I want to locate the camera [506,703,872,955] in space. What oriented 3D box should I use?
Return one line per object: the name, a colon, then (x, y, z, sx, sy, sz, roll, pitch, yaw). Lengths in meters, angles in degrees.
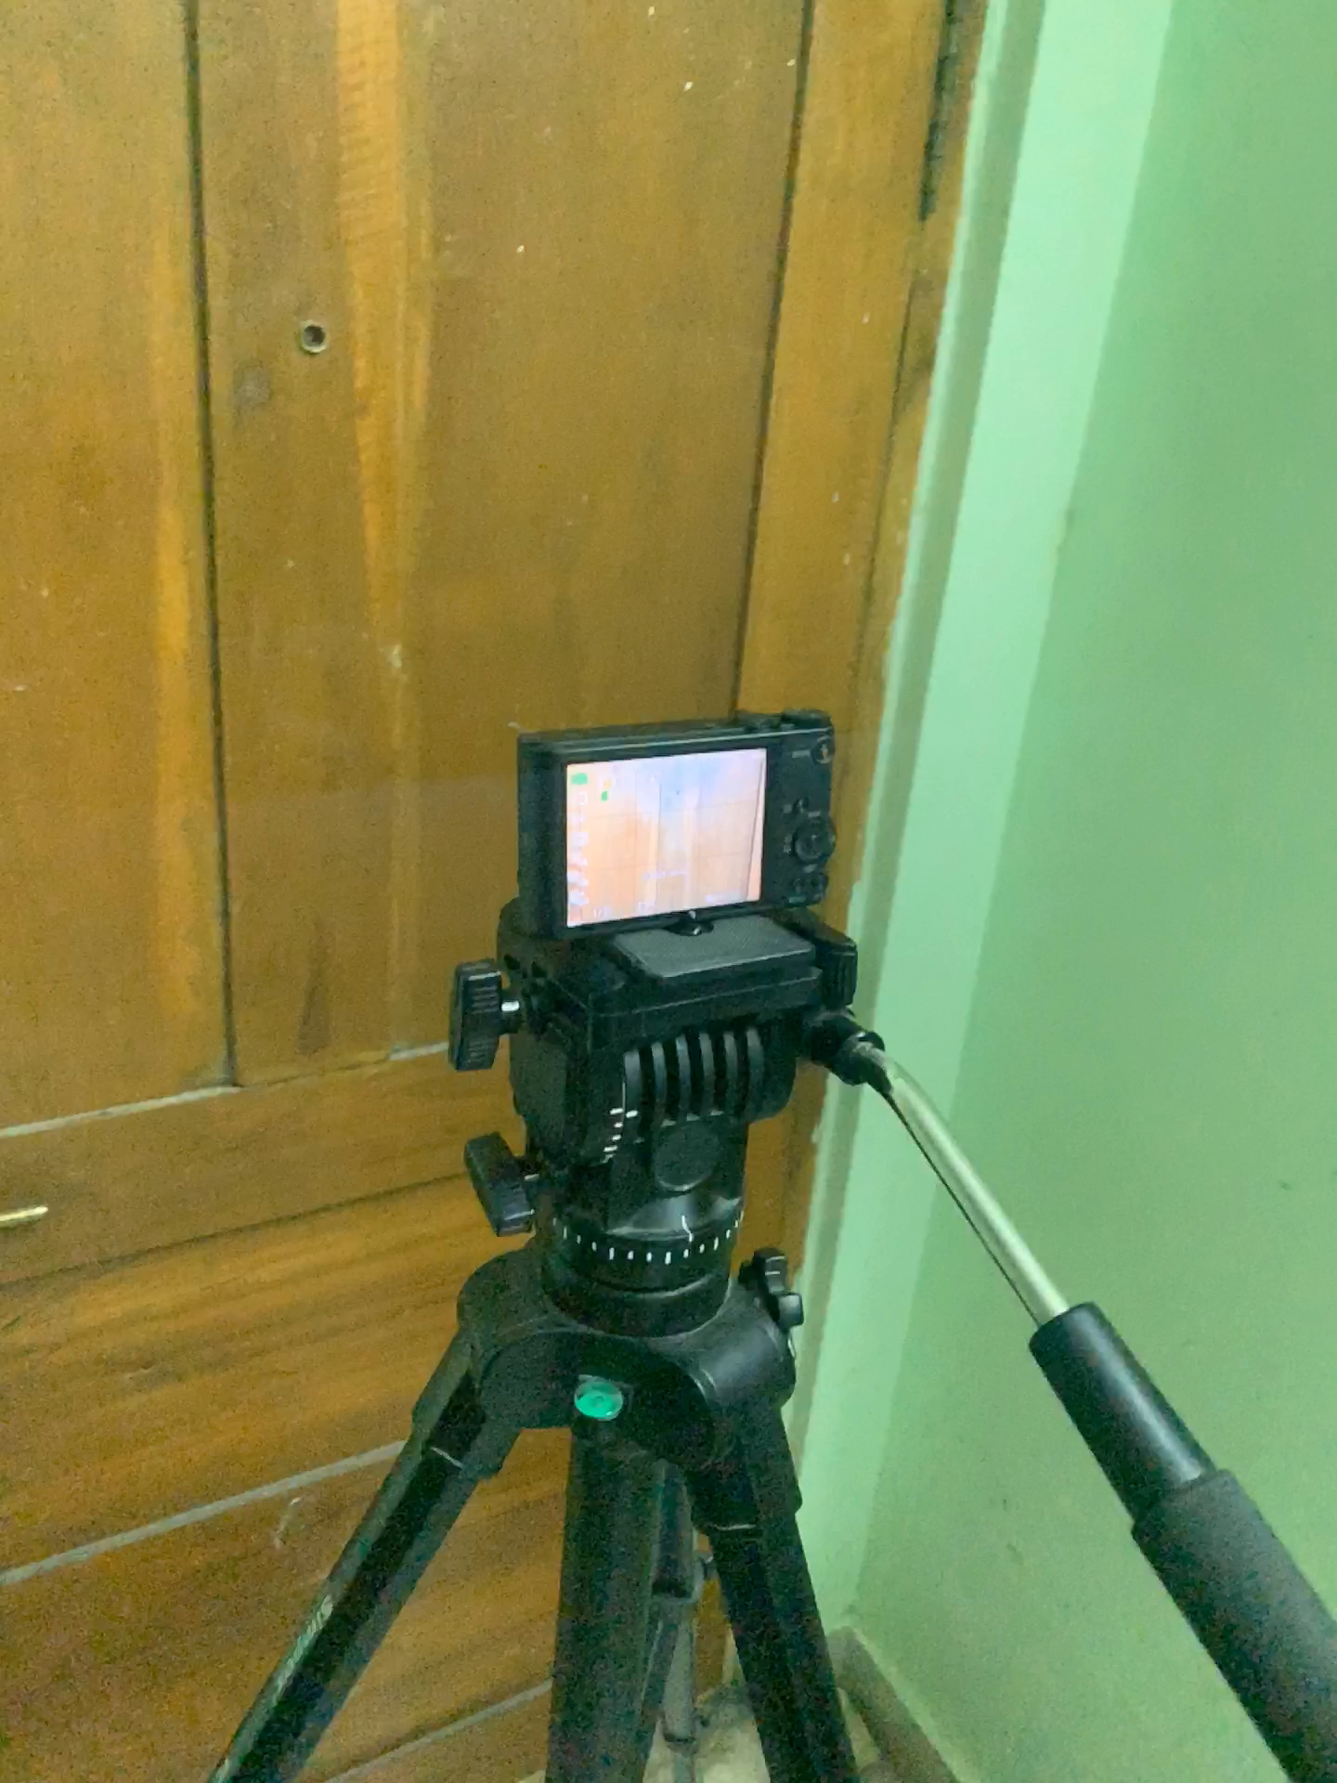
camera: (0.006, -0.022, 0.409, 0.100, 0.060, 0.040, -6, 18, -26)
